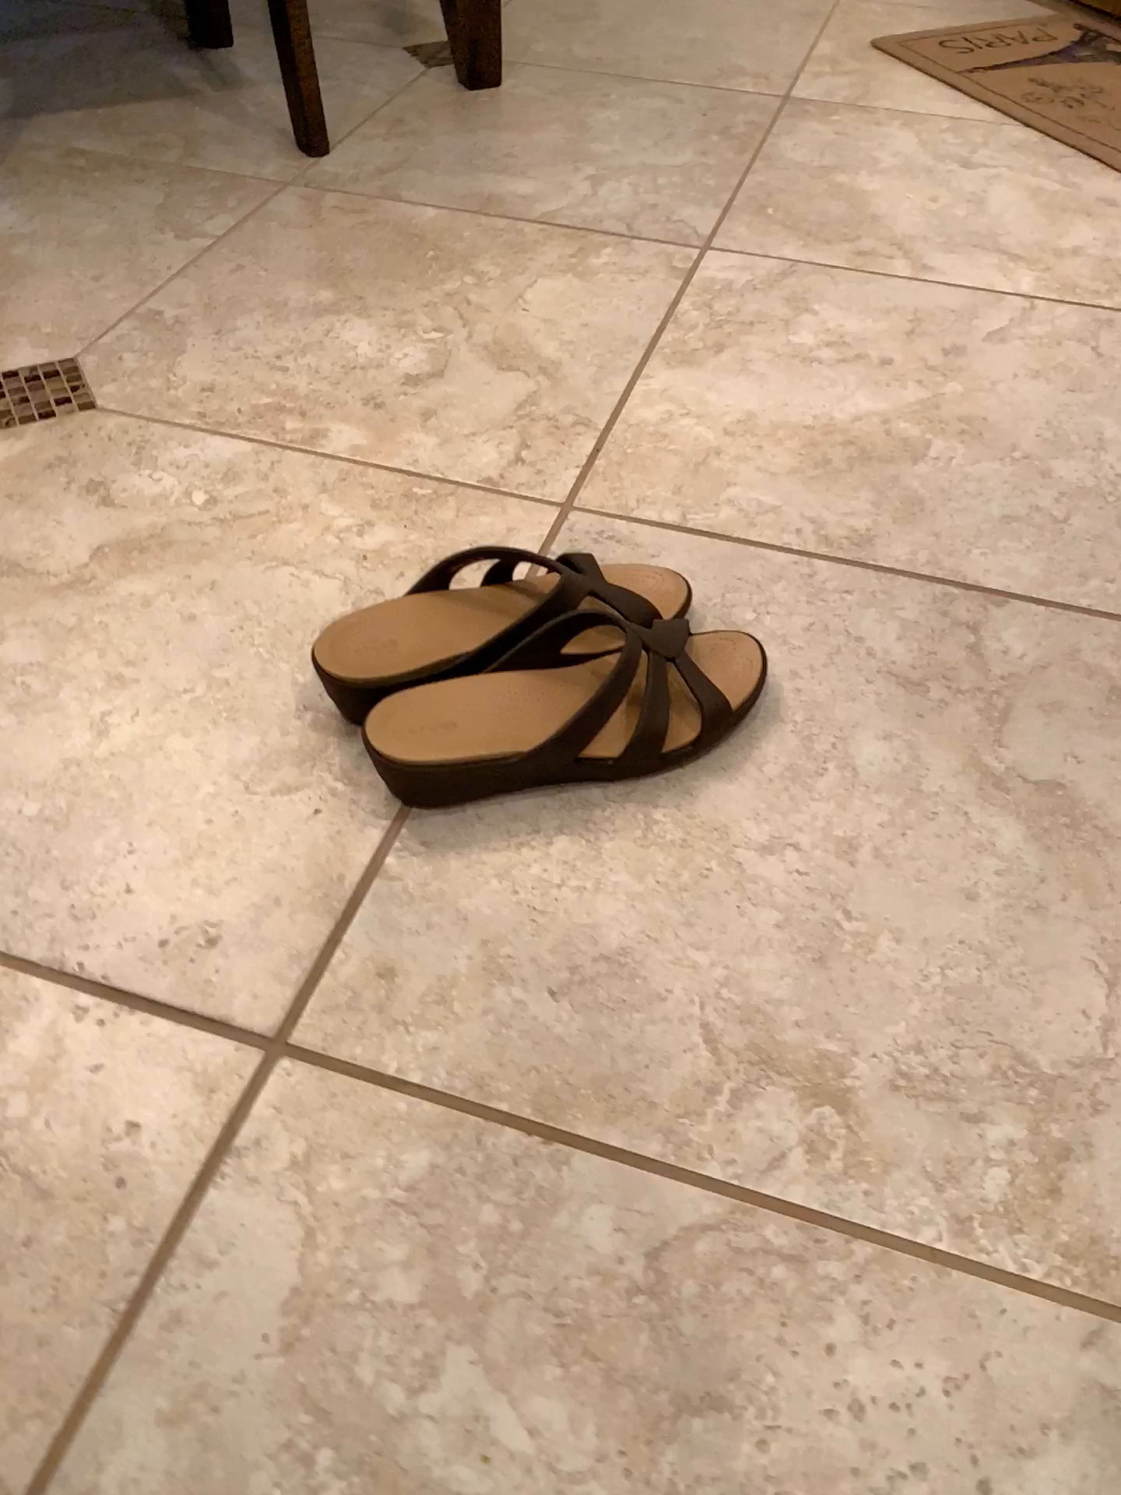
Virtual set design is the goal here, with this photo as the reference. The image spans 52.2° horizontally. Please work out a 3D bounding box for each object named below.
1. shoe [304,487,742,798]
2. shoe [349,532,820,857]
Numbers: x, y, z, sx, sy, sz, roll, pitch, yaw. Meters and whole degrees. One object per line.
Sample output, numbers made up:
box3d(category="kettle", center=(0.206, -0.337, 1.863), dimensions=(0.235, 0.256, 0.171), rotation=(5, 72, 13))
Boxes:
box3d(category="shoe", center=(-0.024, -0.077, 0.778), dimensions=(0.264, 0.092, 0.110), rotation=(-20, 50, -19))
box3d(category="shoe", center=(0.014, -0.038, 0.716), dimensions=(0.258, 0.092, 0.110), rotation=(-16, 49, -16))
